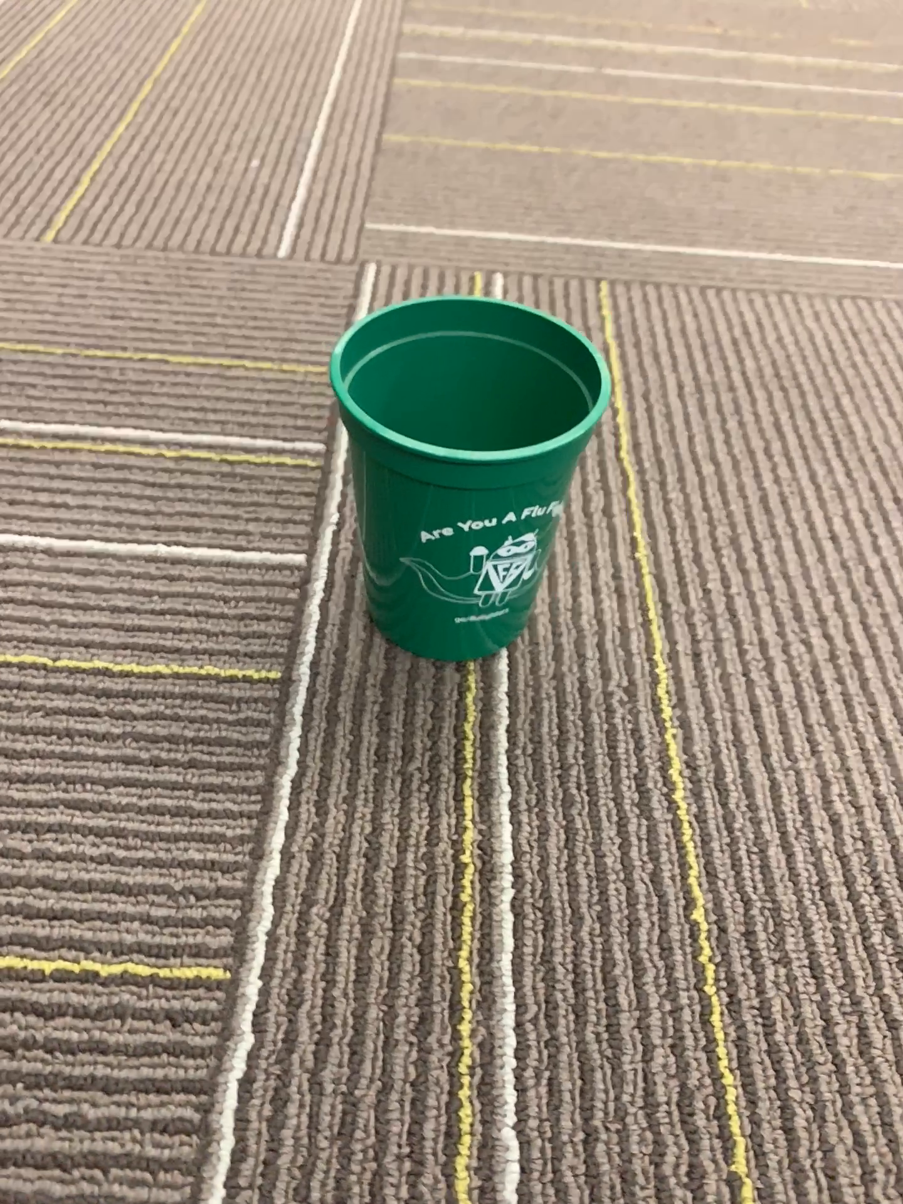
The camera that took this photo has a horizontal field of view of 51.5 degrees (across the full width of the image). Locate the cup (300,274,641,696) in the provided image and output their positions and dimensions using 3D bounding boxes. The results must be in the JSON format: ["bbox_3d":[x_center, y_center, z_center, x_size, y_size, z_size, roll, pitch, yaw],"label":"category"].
[{"bbox_3d":[0.000,-0.042,0.350,0.090,0.119,0.080,-12,50,-15],"label":"cup"}]
